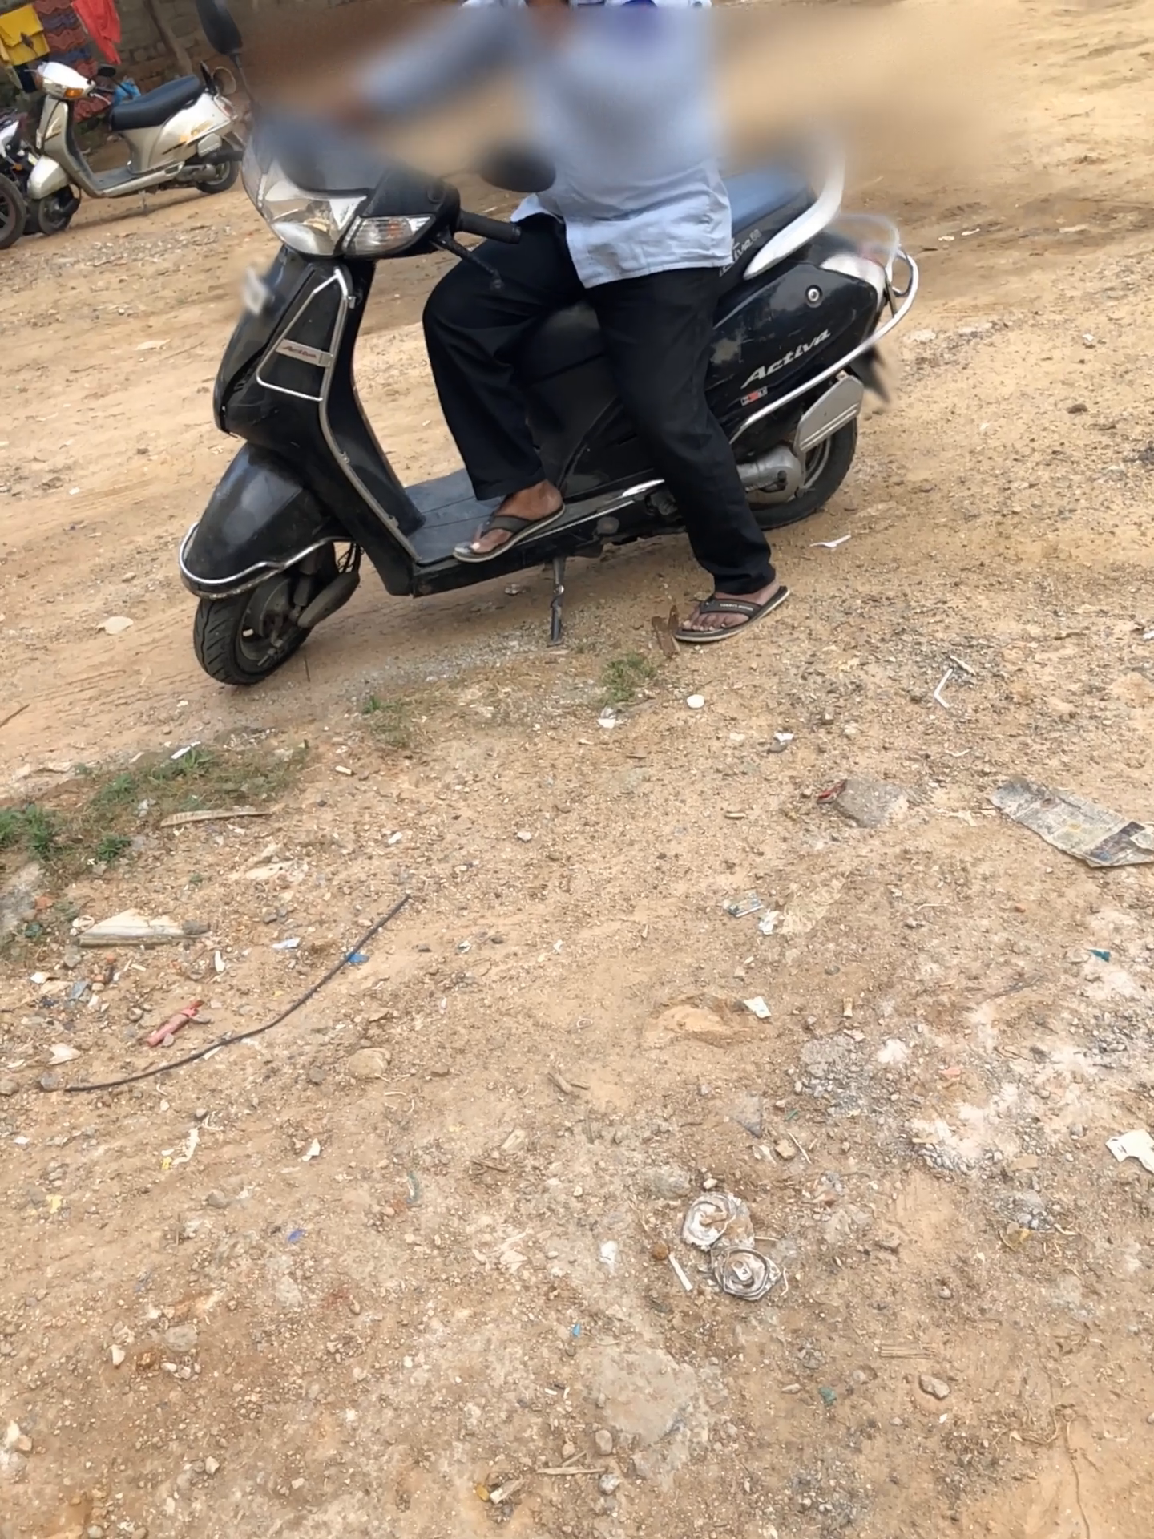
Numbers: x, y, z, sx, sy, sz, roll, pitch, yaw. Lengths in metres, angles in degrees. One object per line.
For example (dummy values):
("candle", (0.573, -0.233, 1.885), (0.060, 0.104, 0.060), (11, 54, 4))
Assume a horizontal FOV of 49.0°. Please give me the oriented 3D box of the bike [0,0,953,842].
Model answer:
("bike", (-0.132, -0.723, 2.476), (1.524, 1.103, 0.577), (-21, 34, -6))
